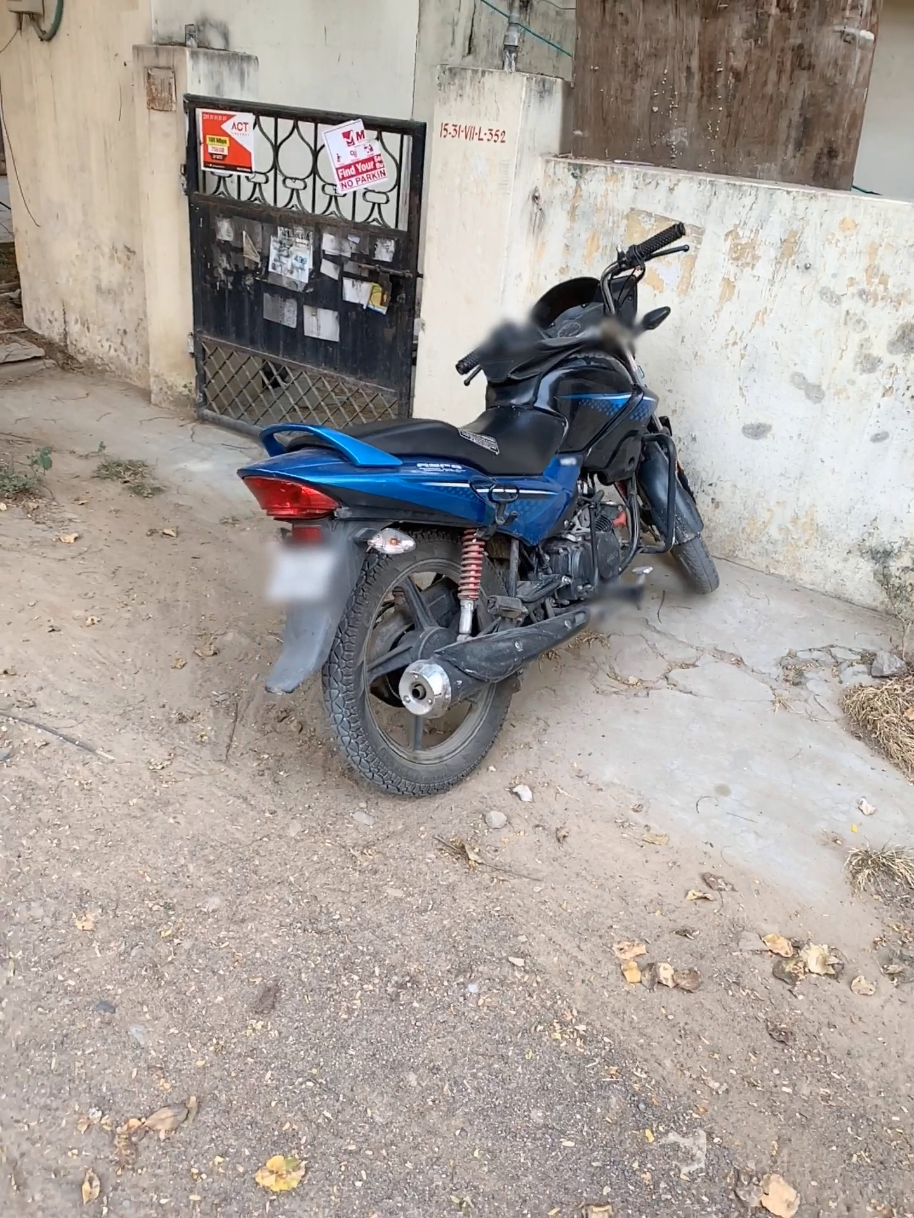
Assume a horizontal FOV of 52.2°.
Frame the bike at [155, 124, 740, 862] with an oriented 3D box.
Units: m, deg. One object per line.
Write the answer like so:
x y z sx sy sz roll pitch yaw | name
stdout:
0.055 -0.534 2.557 0.755 1.233 1.711 19 34 24 | bike
